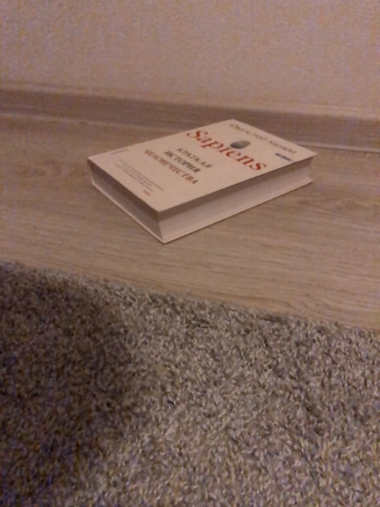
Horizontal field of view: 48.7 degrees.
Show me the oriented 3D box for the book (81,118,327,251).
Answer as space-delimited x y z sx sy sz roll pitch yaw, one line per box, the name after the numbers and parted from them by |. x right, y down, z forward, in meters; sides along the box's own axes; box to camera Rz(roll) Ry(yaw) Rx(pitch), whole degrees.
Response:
0.019 -0.109 0.554 0.259 0.040 0.187 -24 42 -29 | book
